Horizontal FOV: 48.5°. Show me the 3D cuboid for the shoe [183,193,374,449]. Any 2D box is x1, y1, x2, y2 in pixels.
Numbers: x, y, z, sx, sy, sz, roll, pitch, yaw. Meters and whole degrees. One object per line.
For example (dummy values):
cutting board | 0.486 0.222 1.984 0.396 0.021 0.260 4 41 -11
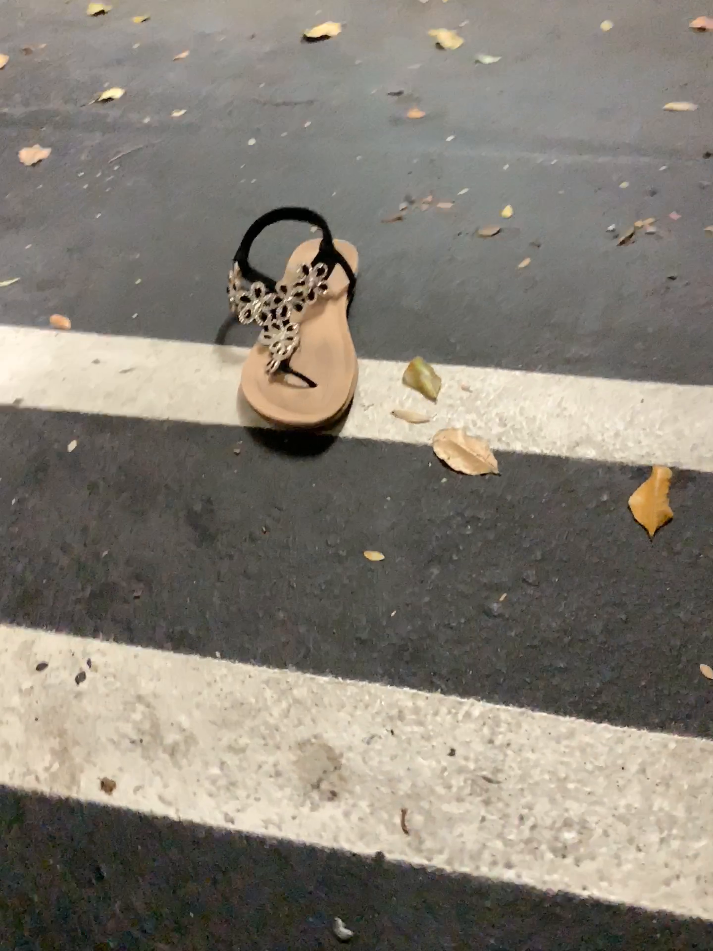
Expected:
shoe | -0.052 -0.139 0.655 0.120 0.060 0.260 2 48 3
